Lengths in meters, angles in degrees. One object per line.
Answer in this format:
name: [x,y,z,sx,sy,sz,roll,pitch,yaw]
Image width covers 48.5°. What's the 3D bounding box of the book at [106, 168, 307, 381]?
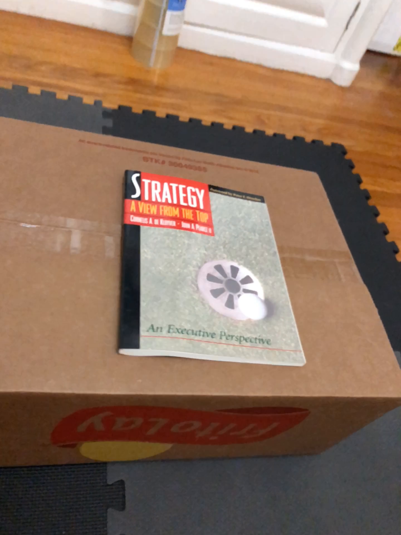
book: [0.000,-0.003,0.469,0.180,0.020,0.241,7,50,-16]
